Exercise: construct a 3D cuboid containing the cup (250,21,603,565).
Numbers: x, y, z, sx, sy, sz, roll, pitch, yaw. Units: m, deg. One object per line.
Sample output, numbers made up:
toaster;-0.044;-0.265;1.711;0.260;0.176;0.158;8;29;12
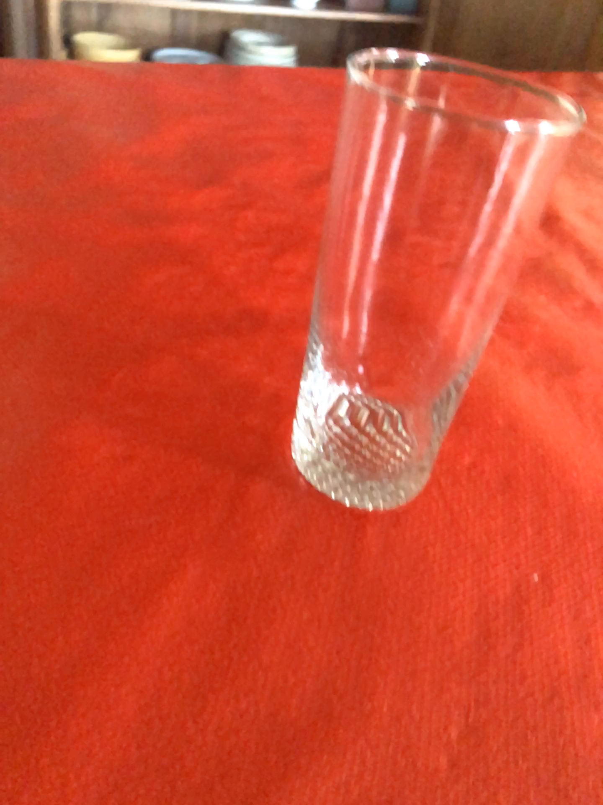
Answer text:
cup;0.038;-0.032;0.225;0.070;0.149;0.070;7;38;-6
